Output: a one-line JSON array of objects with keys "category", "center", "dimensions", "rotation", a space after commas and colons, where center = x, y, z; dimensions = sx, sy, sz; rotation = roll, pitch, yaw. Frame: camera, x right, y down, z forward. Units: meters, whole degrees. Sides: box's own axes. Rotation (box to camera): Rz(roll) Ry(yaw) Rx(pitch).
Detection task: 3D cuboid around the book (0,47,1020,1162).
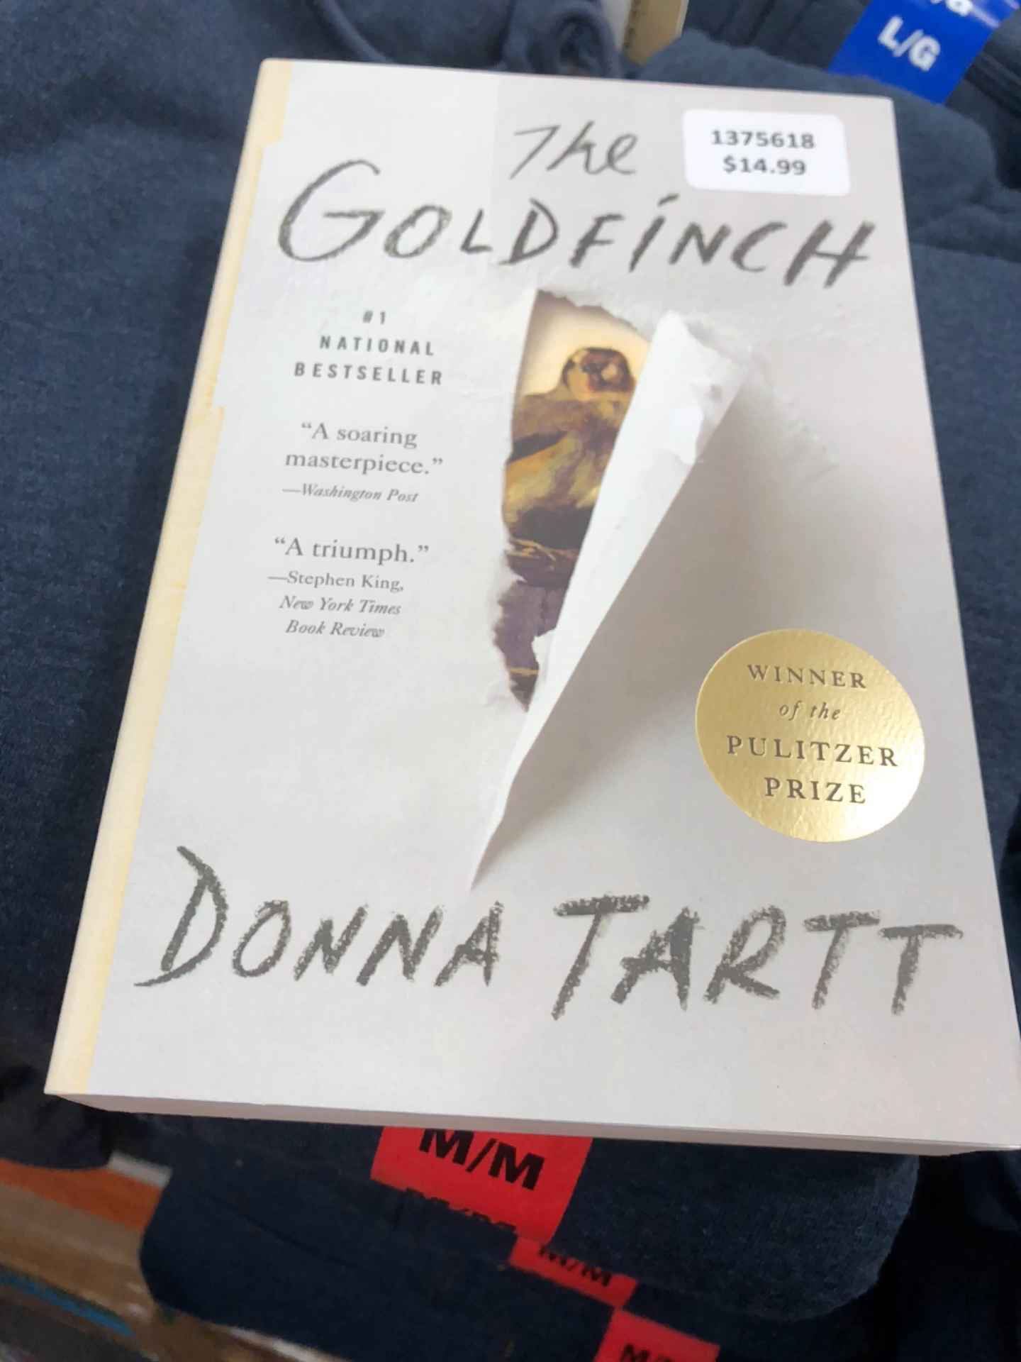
[{"category": "book", "center": [0.009, -0.028, 0.230], "dimensions": [0.158, 0.041, 0.222], "rotation": [3, 65, -1]}]
